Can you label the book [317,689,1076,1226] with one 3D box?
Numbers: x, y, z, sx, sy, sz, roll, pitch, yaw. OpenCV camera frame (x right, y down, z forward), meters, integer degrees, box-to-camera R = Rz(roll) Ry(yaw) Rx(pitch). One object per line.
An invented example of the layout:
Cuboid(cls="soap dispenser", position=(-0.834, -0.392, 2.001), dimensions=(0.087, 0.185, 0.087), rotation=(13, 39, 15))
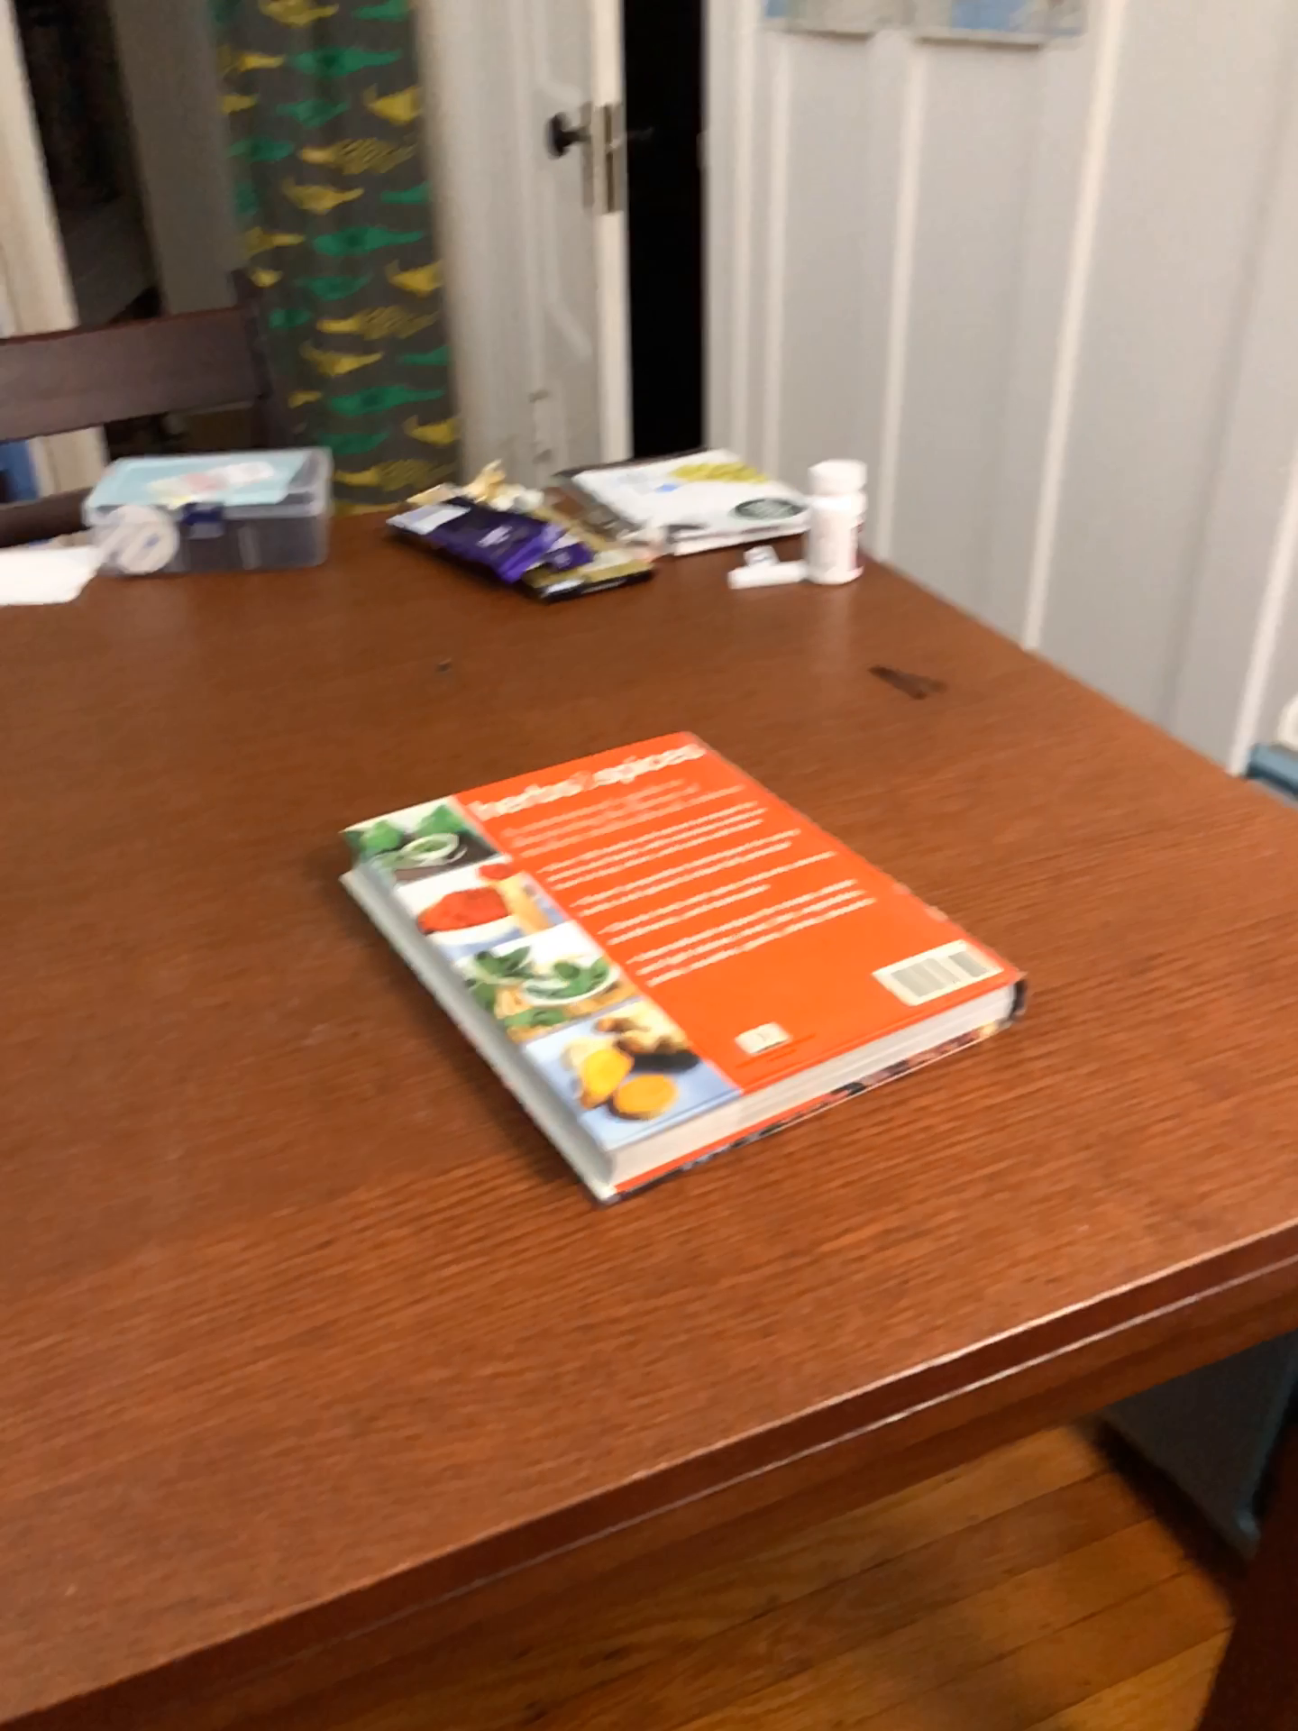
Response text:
Cuboid(cls="book", position=(0.006, 0.014, 0.615), dimensions=(0.210, 0.040, 0.271), rotation=(-18, 36, -25))
